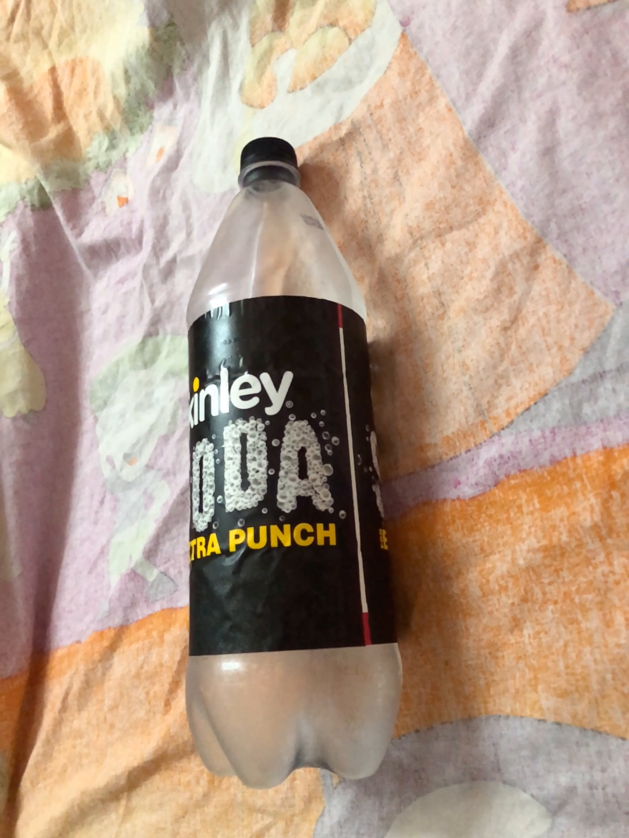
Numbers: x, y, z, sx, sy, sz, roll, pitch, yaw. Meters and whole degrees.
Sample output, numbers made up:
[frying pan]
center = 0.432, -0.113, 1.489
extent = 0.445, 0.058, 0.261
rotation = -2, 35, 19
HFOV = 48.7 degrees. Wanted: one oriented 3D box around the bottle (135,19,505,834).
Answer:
[bottle]
center = -0.004, -0.002, 0.287
extent = 0.090, 0.080, 0.280
rotation = -16, 73, 32
